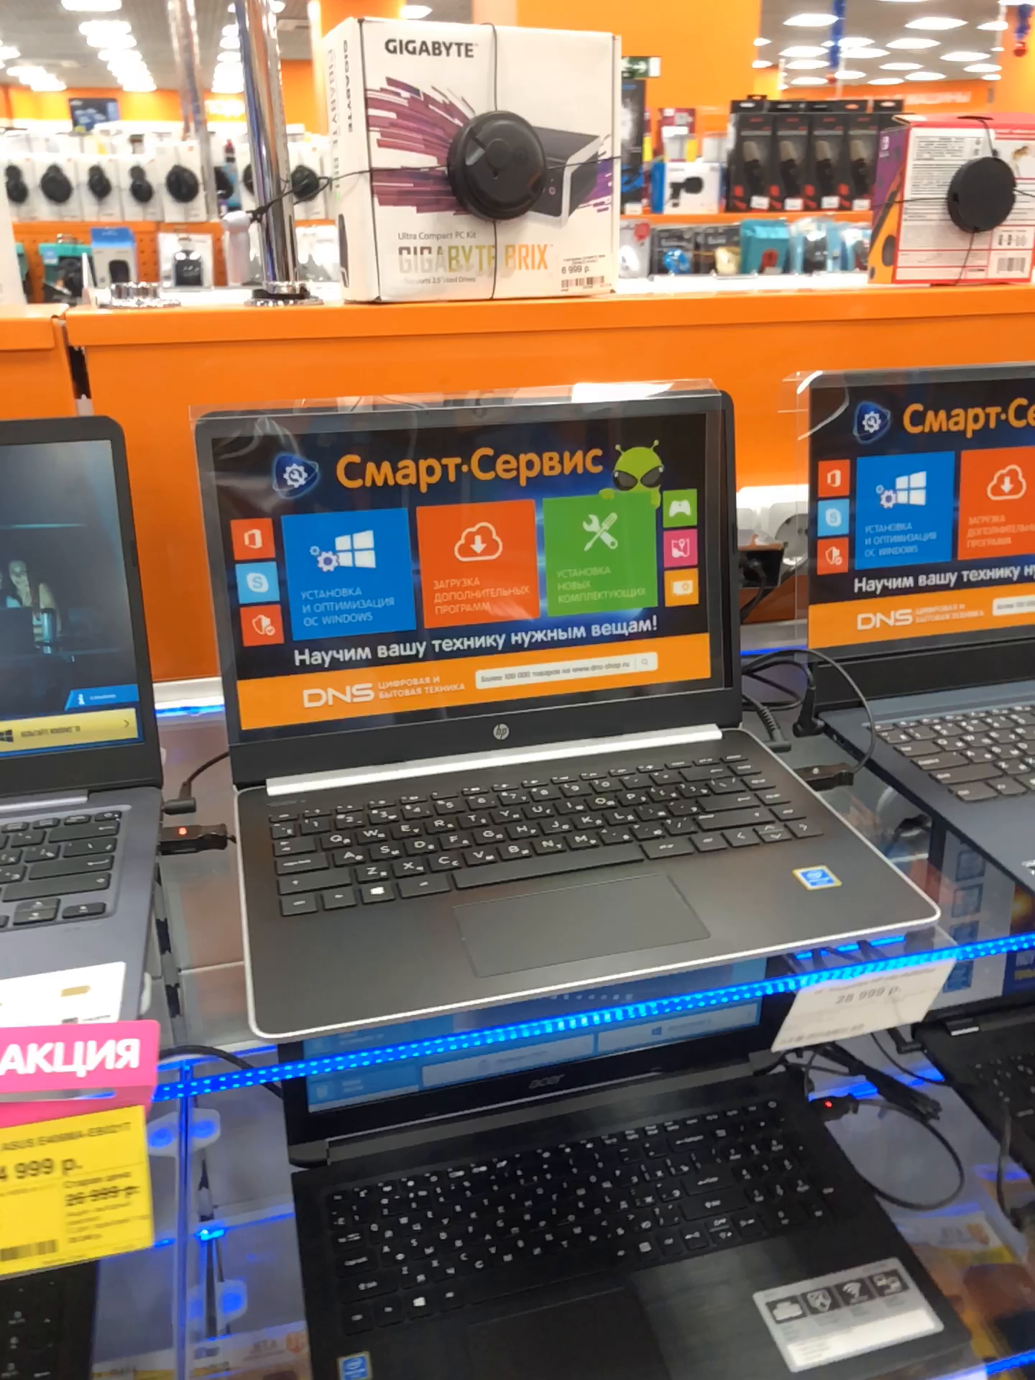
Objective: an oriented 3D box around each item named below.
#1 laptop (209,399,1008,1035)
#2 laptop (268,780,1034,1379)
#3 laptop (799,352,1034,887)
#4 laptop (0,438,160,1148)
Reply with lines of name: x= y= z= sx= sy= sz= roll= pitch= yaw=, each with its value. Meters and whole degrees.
laptop: x=0.016 y=-0.019 z=0.581 sx=0.313 sy=0.197 sz=0.268 roll=-6 pitch=24 yaw=-14
laptop: x=0.053 y=0.241 z=0.681 sx=0.362 sy=0.245 sz=0.252 roll=-6 pitch=23 yaw=-13
laptop: x=0.361 y=-0.062 z=0.650 sx=0.276 sy=0.205 sz=0.249 roll=-7 pitch=24 yaw=-11
laptop: x=-0.345 y=0.010 z=0.517 sx=0.313 sy=0.199 sz=0.280 roll=-6 pitch=22 yaw=-14
